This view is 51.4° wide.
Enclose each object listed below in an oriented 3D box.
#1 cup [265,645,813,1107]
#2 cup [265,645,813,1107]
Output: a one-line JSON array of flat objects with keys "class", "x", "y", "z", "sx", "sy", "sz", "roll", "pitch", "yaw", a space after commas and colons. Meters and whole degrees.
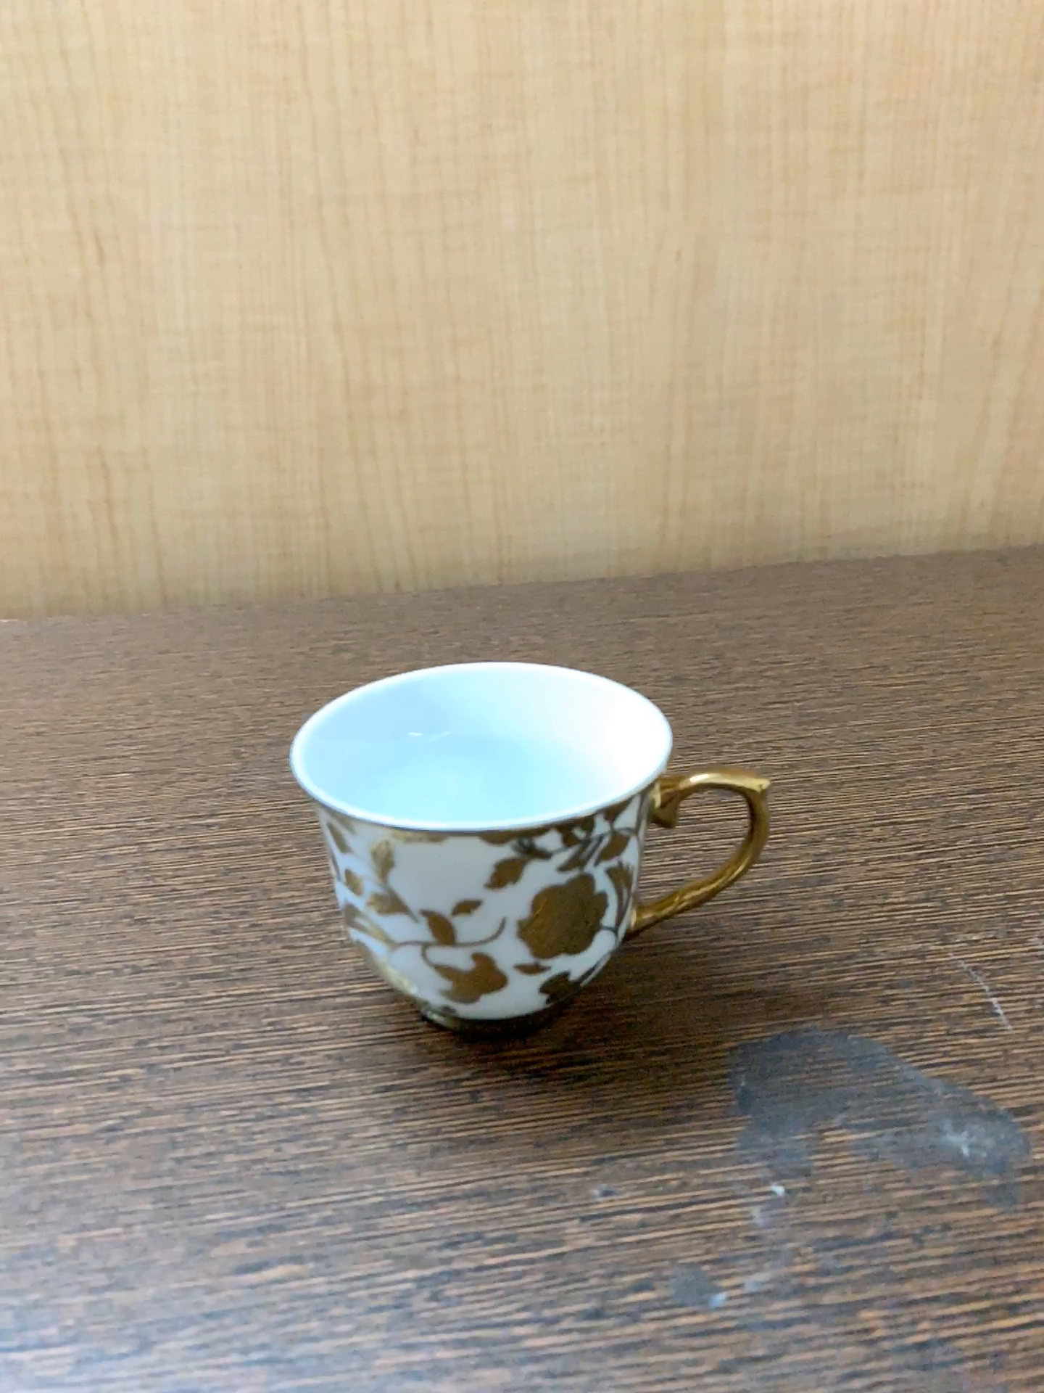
[{"class": "cup", "x": 0.002, "y": 0.028, "z": 0.200, "sx": 0.080, "sy": 0.050, "sz": 0.071, "roll": -3, "pitch": 23, "yaw": -2}, {"class": "cup", "x": 0.002, "y": 0.028, "z": 0.200, "sx": 0.080, "sy": 0.050, "sz": 0.071, "roll": -3, "pitch": 23, "yaw": -2}]
